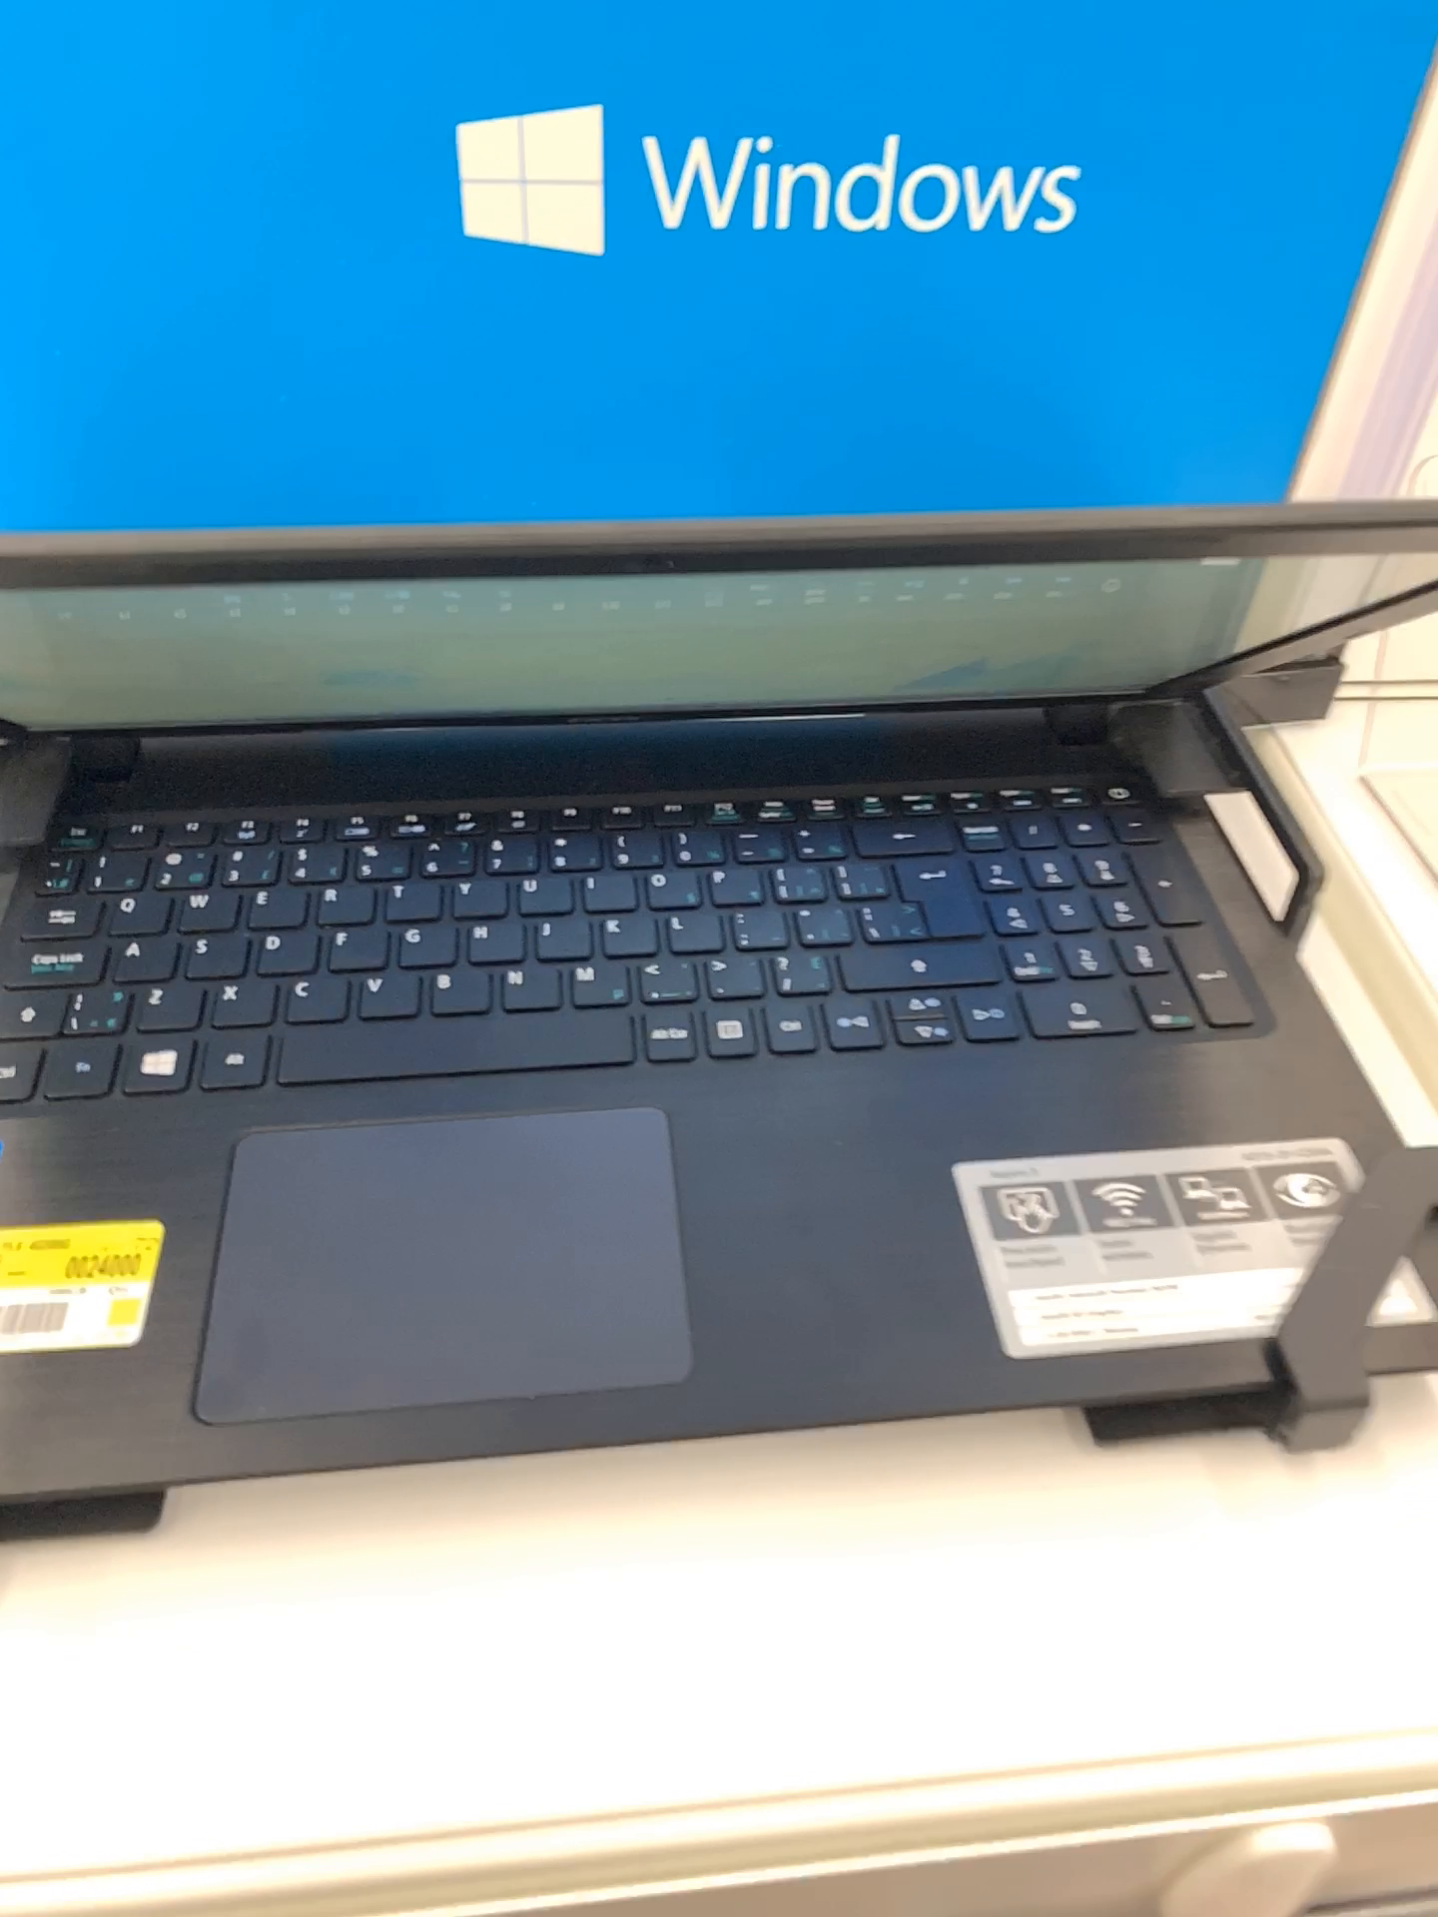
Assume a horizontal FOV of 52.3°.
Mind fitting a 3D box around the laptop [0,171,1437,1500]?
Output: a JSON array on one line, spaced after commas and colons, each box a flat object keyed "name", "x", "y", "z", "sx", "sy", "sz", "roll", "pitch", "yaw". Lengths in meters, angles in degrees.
[{"name": "laptop", "x": -0.016, "y": -0.046, "z": 0.312, "sx": 0.344, "sy": 0.157, "sz": 0.234, "roll": -3, "pitch": 44, "yaw": -6}]
